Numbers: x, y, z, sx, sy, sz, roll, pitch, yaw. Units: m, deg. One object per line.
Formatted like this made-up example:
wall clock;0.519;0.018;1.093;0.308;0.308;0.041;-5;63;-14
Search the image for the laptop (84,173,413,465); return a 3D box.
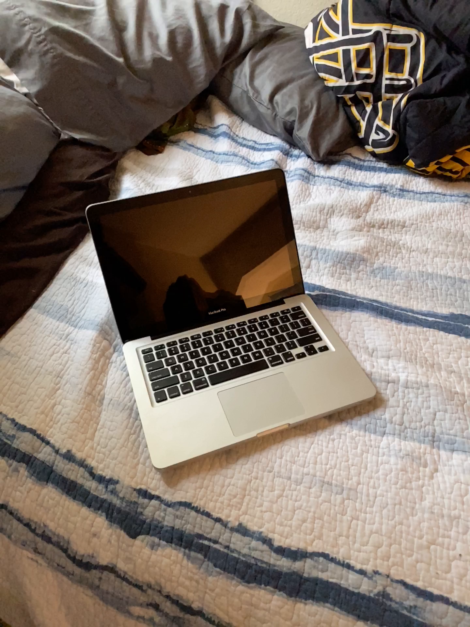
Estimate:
laptop;-0.010;-0.020;0.687;0.319;0.169;0.347;-15;46;-13
